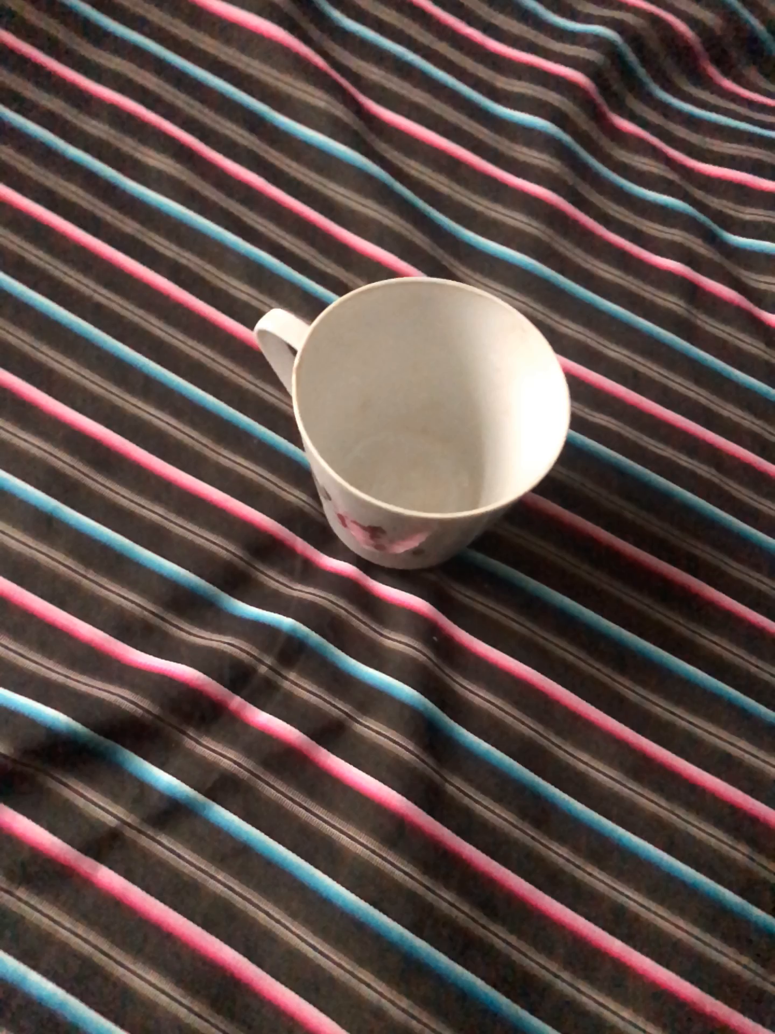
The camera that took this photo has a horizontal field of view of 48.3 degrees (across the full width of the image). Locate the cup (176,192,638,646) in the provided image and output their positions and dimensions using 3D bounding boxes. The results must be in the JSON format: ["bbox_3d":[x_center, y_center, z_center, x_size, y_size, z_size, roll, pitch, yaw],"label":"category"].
[{"bbox_3d":[0.004,-0.028,0.244,0.094,0.049,0.073,41,70,12],"label":"cup"}]
